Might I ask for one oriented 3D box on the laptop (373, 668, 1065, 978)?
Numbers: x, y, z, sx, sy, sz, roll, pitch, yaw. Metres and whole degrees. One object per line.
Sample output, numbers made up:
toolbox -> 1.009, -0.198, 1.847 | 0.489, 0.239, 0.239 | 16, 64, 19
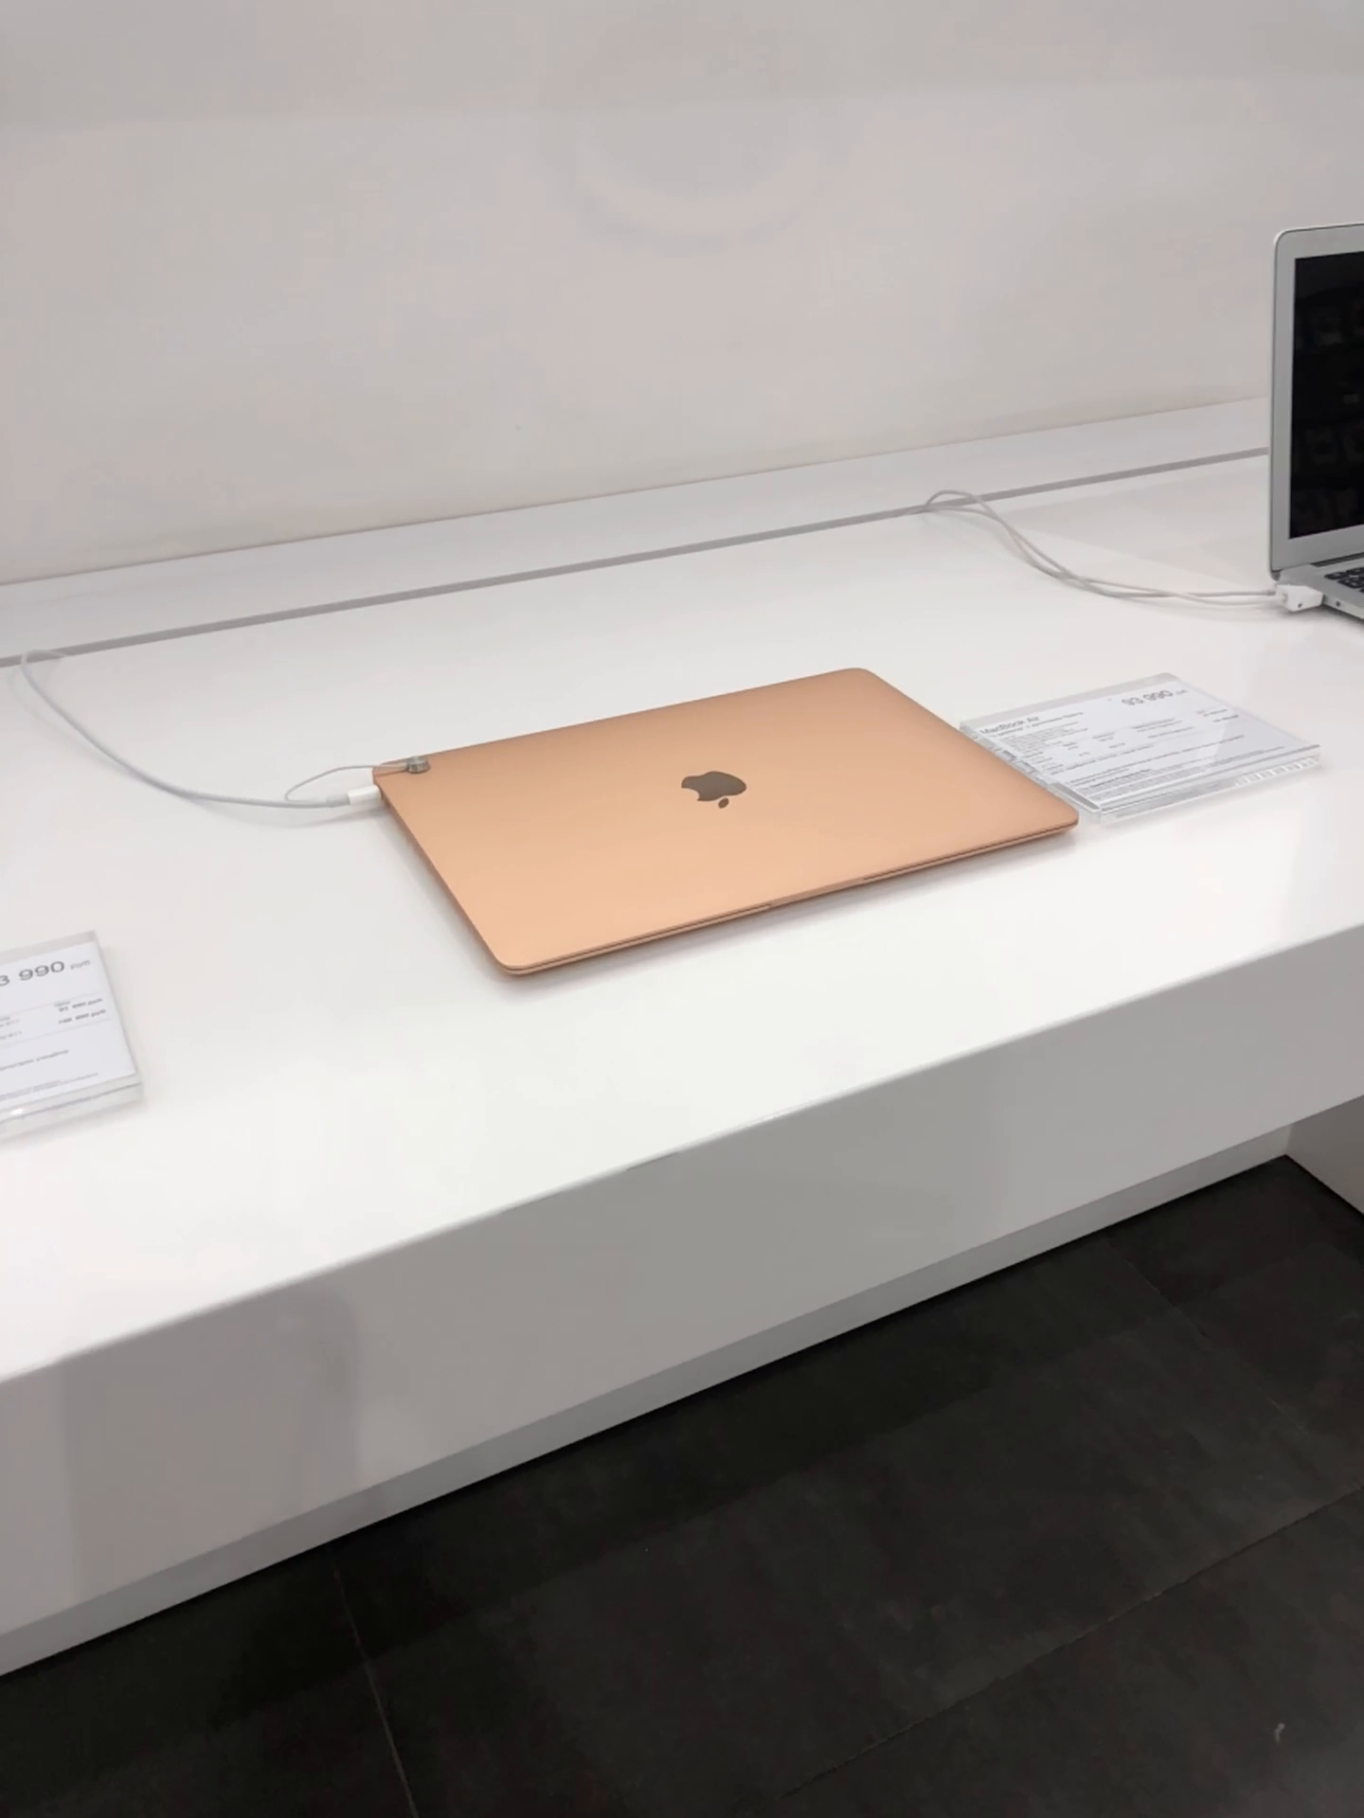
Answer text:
laptop -> 0.014, -0.057, 0.763 | 0.293, 0.005, 0.202 | -15, 35, -22

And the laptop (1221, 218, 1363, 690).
laptop -> 0.592, -0.313, 0.969 | 0.345, 0.213, 0.258 | -15, 34, -25
